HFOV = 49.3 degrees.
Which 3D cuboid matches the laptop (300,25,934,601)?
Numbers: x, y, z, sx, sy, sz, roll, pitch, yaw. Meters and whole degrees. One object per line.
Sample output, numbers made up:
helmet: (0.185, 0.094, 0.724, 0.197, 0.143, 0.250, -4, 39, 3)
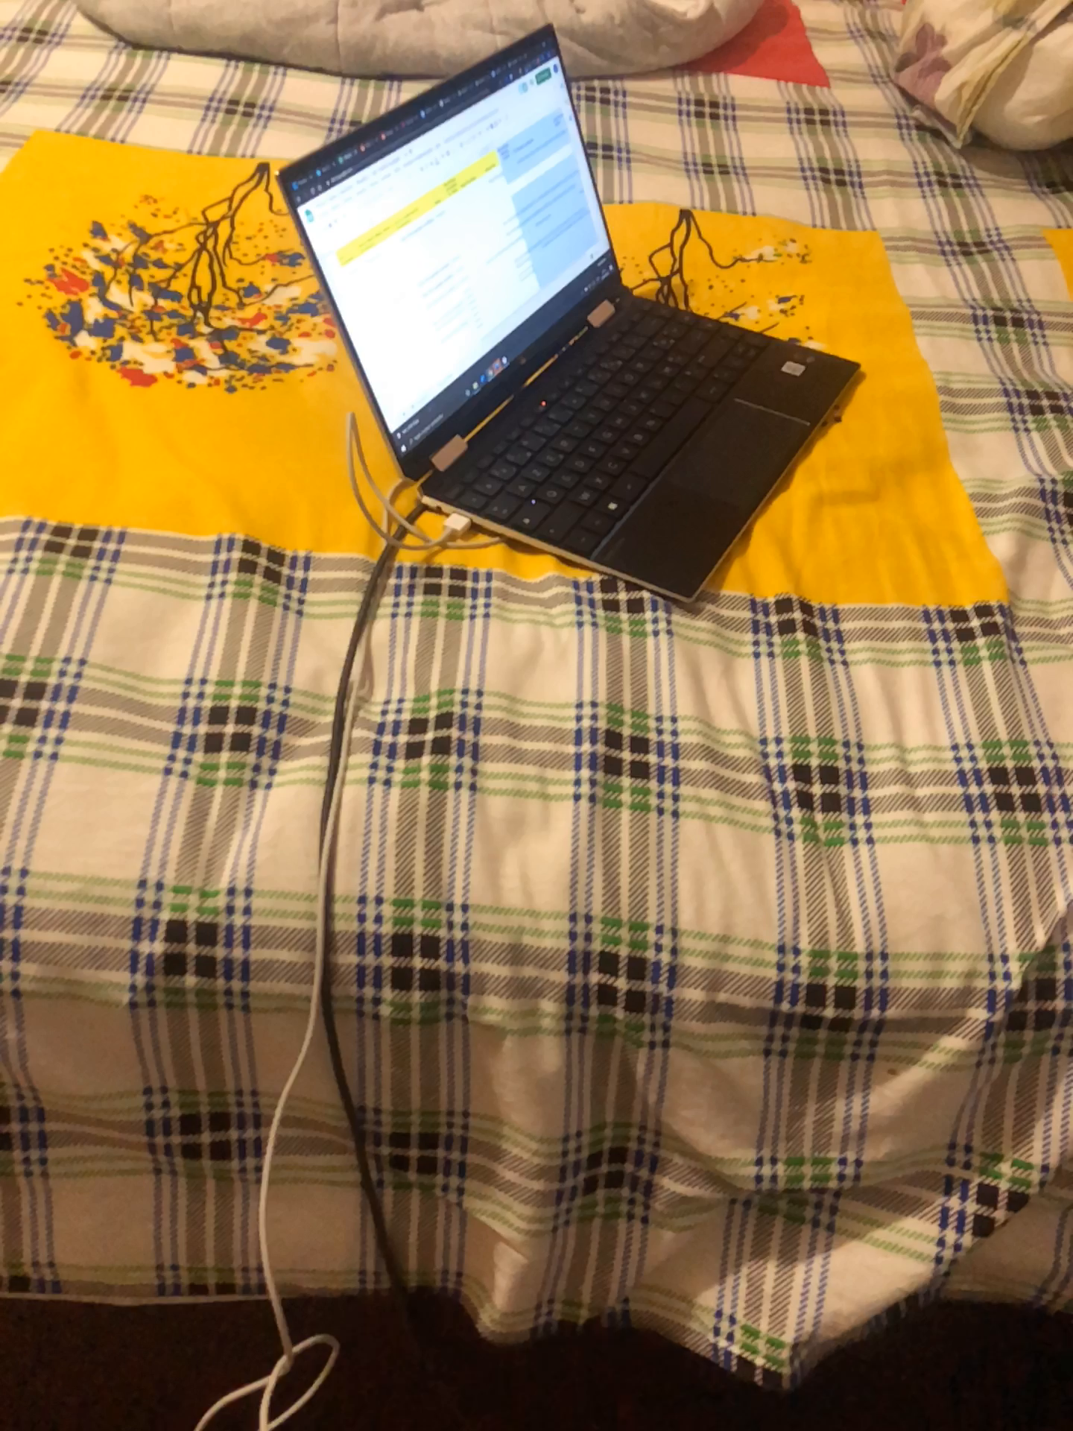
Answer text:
laptop: (0.050, -0.256, 0.698, 0.253, 0.158, 0.275, 26, 52, 18)
